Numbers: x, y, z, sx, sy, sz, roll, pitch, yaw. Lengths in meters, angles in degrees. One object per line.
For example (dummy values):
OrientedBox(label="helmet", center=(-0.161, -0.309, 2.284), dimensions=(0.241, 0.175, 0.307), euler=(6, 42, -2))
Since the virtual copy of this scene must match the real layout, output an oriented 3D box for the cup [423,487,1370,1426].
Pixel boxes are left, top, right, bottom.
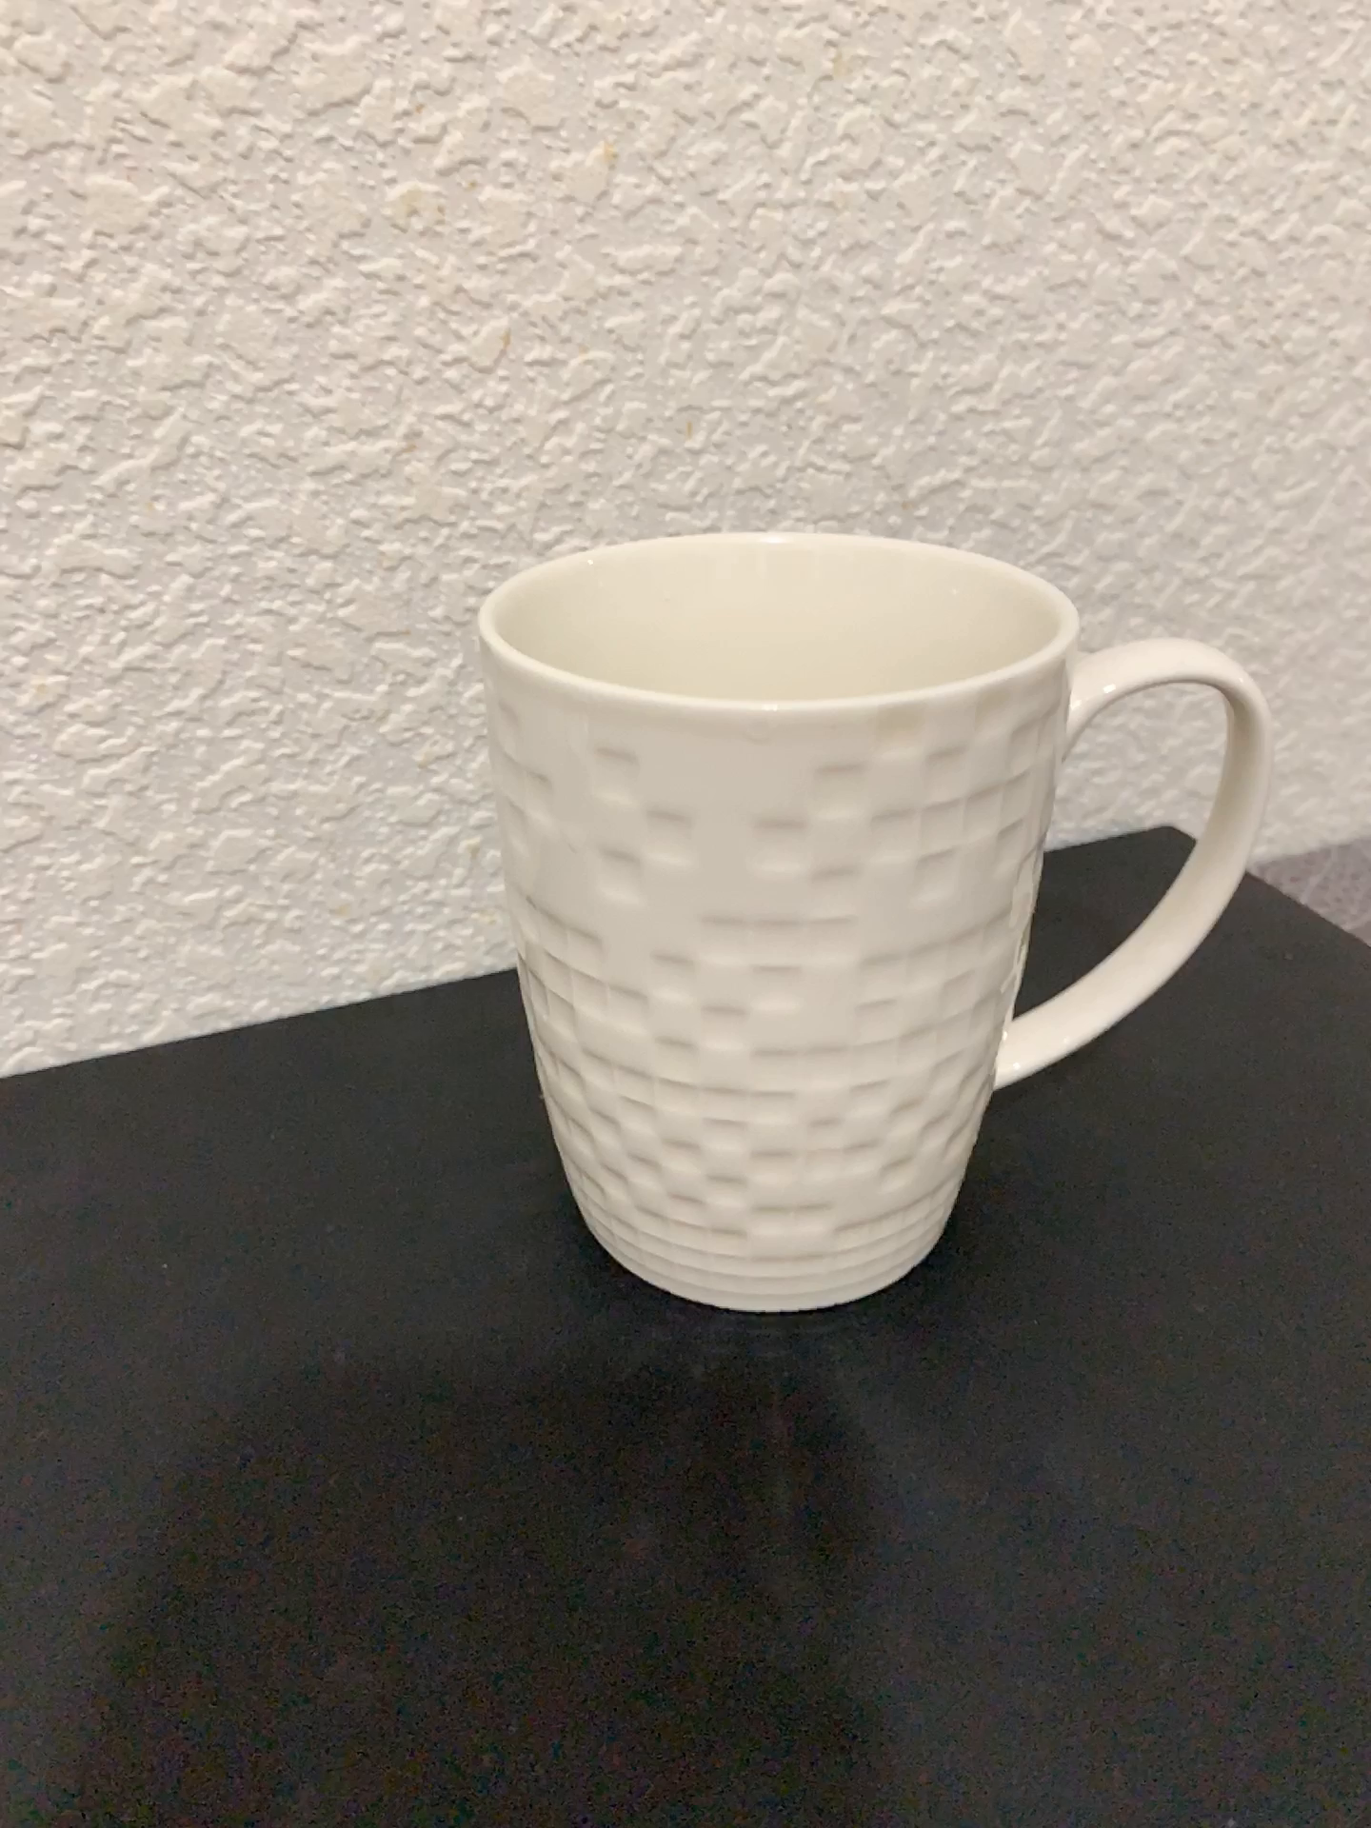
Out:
OrientedBox(label="cup", center=(0.029, -0.001, 0.226), dimensions=(0.119, 0.105, 0.082), euler=(-8, 31, -14))
